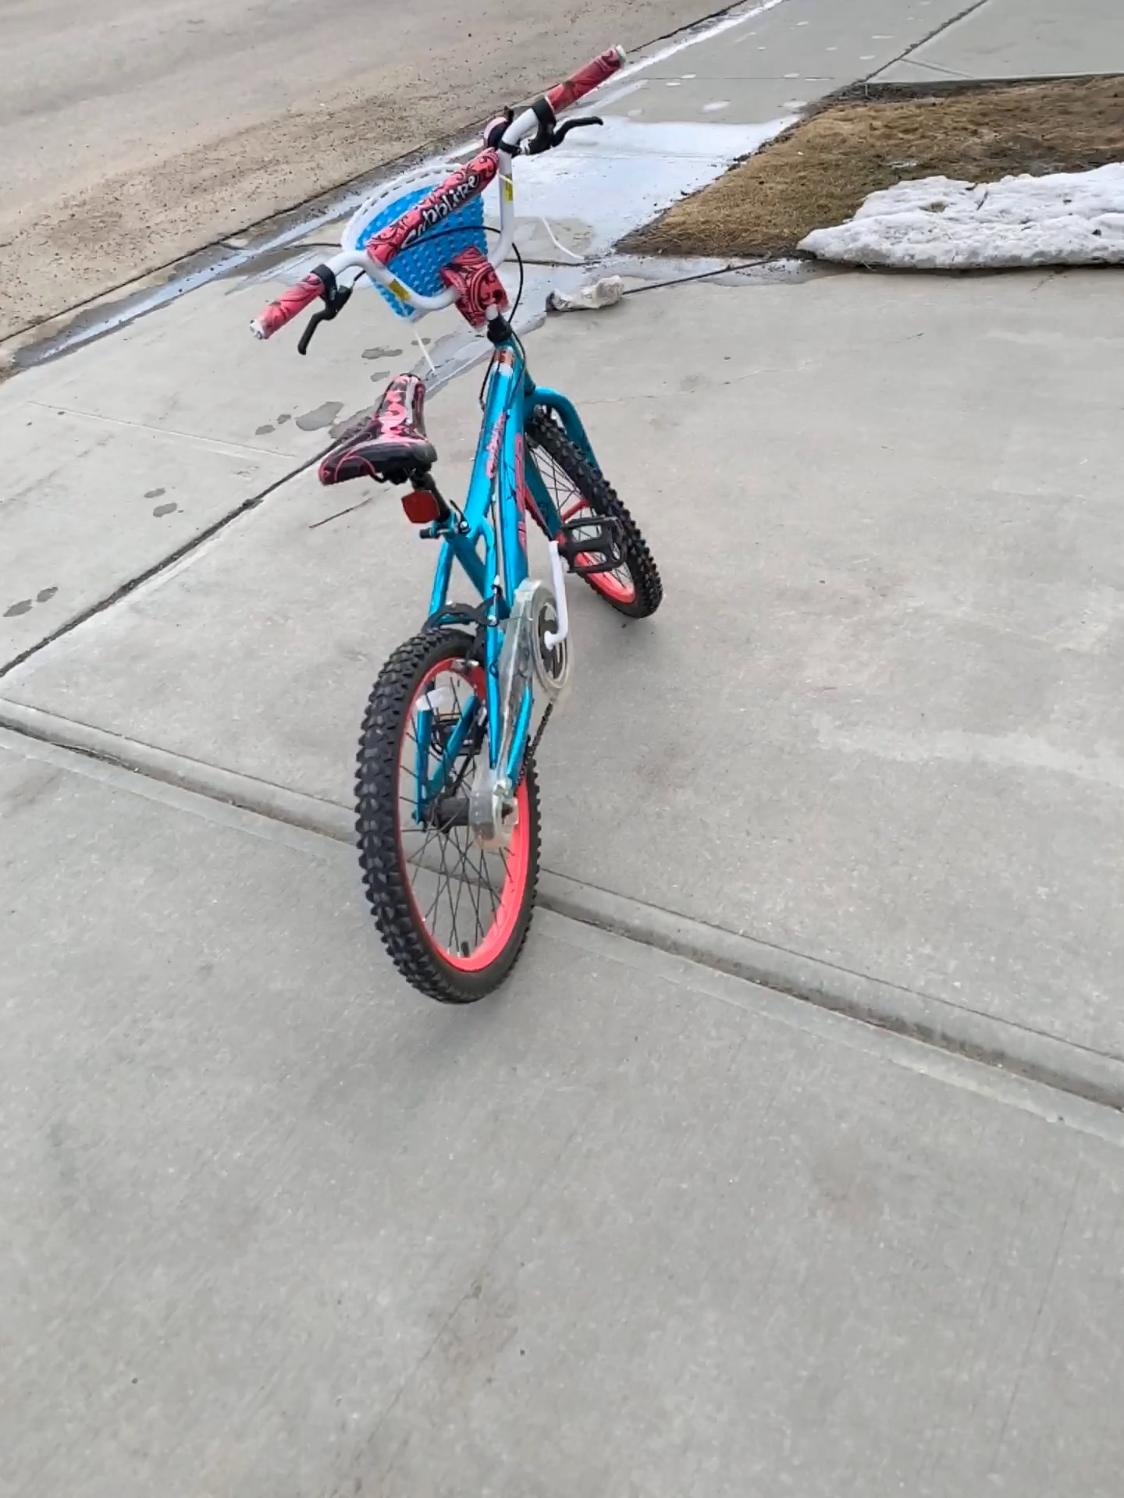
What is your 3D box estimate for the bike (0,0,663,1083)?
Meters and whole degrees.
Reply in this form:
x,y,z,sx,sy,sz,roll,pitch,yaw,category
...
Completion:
x,y,z,sx,sy,sz,roll,pitch,yaw,category
-0.238,-0.388,1.647,0.743,0.946,1.265,0,43,7,bike
